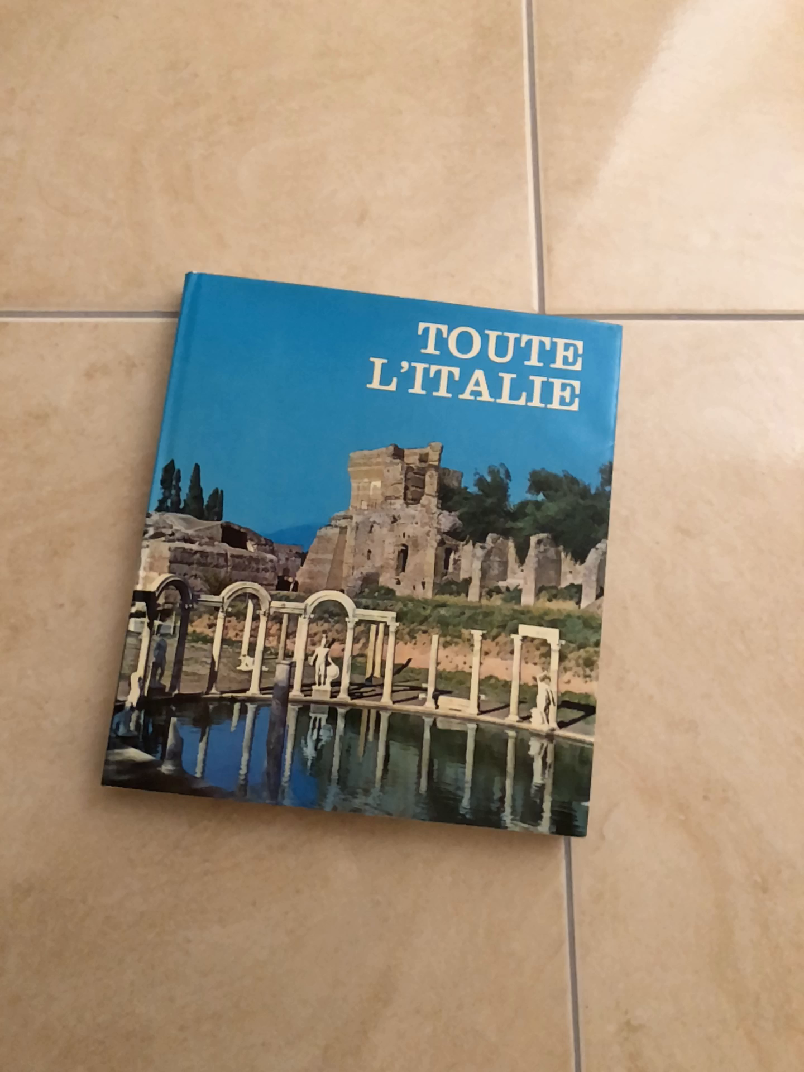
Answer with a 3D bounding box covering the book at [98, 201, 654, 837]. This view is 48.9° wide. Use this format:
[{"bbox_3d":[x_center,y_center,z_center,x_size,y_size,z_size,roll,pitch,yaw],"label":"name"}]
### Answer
[{"bbox_3d":[-0.005,-0.012,0.457,0.240,0.050,0.290,7,80,-1],"label":"book"}]
